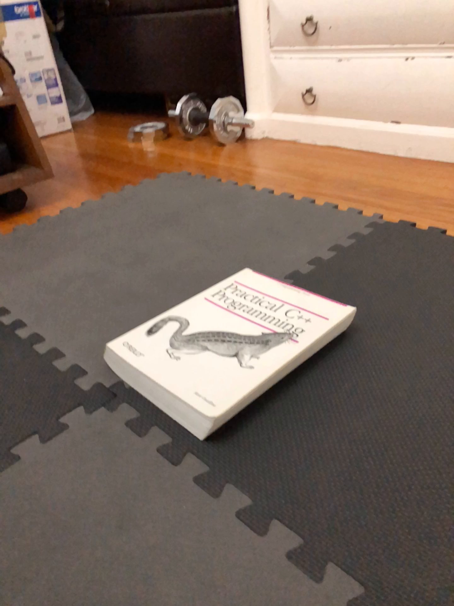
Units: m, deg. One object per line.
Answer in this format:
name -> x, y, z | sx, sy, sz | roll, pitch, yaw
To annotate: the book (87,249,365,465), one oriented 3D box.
book -> 0.003, 0.038, 0.584 | 0.251, 0.050, 0.201 | -31, 45, -34
